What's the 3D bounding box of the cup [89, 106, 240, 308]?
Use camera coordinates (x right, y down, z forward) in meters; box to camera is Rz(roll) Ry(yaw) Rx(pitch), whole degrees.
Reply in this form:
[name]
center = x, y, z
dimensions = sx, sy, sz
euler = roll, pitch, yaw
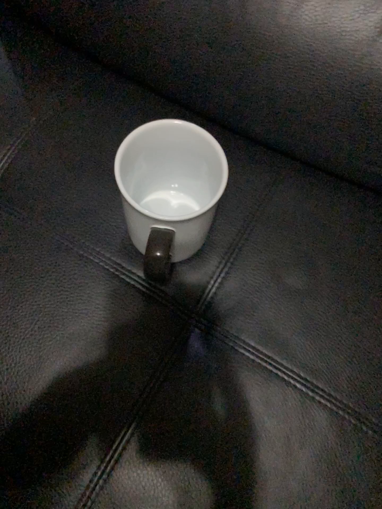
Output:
[cup]
center = -0.020, -0.036, 0.355
dimensions = 0.092, 0.116, 0.124
euler = 11, 66, 0
